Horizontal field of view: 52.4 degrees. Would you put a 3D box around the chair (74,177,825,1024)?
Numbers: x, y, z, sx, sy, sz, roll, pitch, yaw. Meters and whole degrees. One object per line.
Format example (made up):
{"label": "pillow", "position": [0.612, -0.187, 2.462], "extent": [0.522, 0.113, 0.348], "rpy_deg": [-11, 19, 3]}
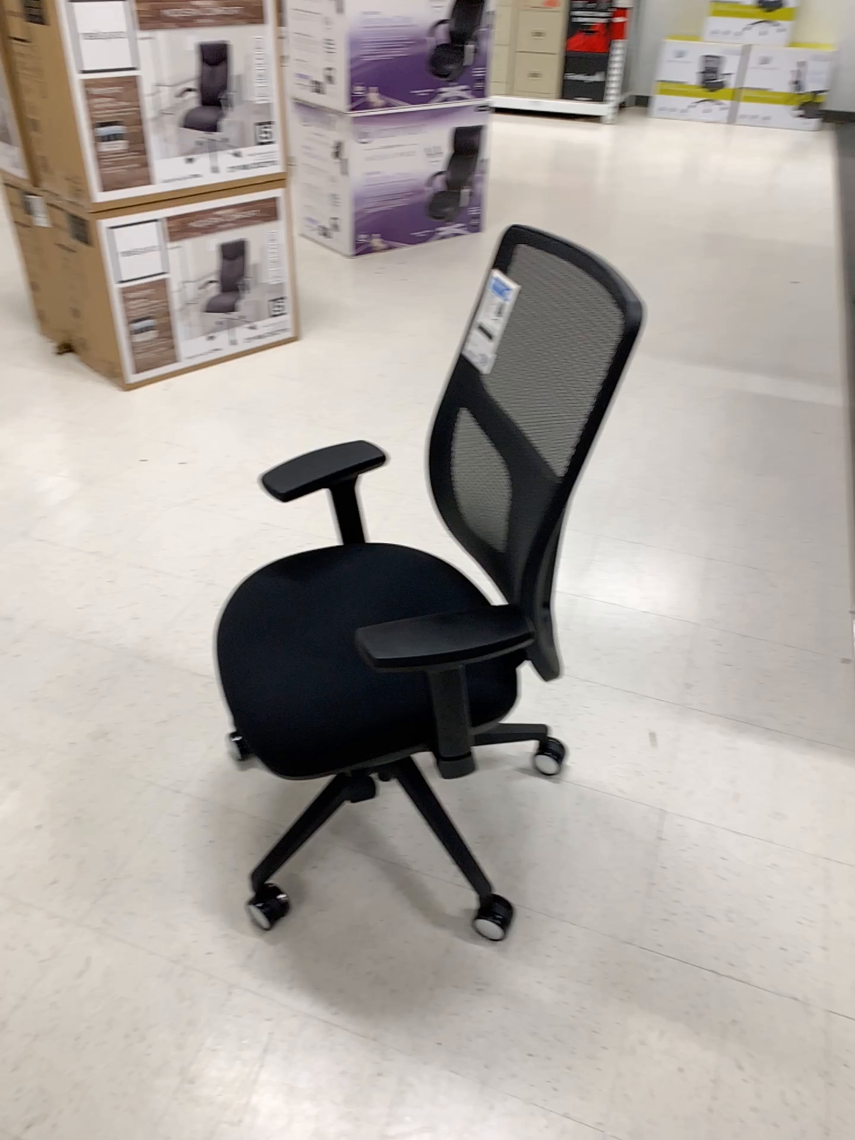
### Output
{"label": "chair", "position": [-0.053, 0.010, 1.375], "extent": [0.730, 0.995, 0.704], "rpy_deg": [-11, 38, -17]}
